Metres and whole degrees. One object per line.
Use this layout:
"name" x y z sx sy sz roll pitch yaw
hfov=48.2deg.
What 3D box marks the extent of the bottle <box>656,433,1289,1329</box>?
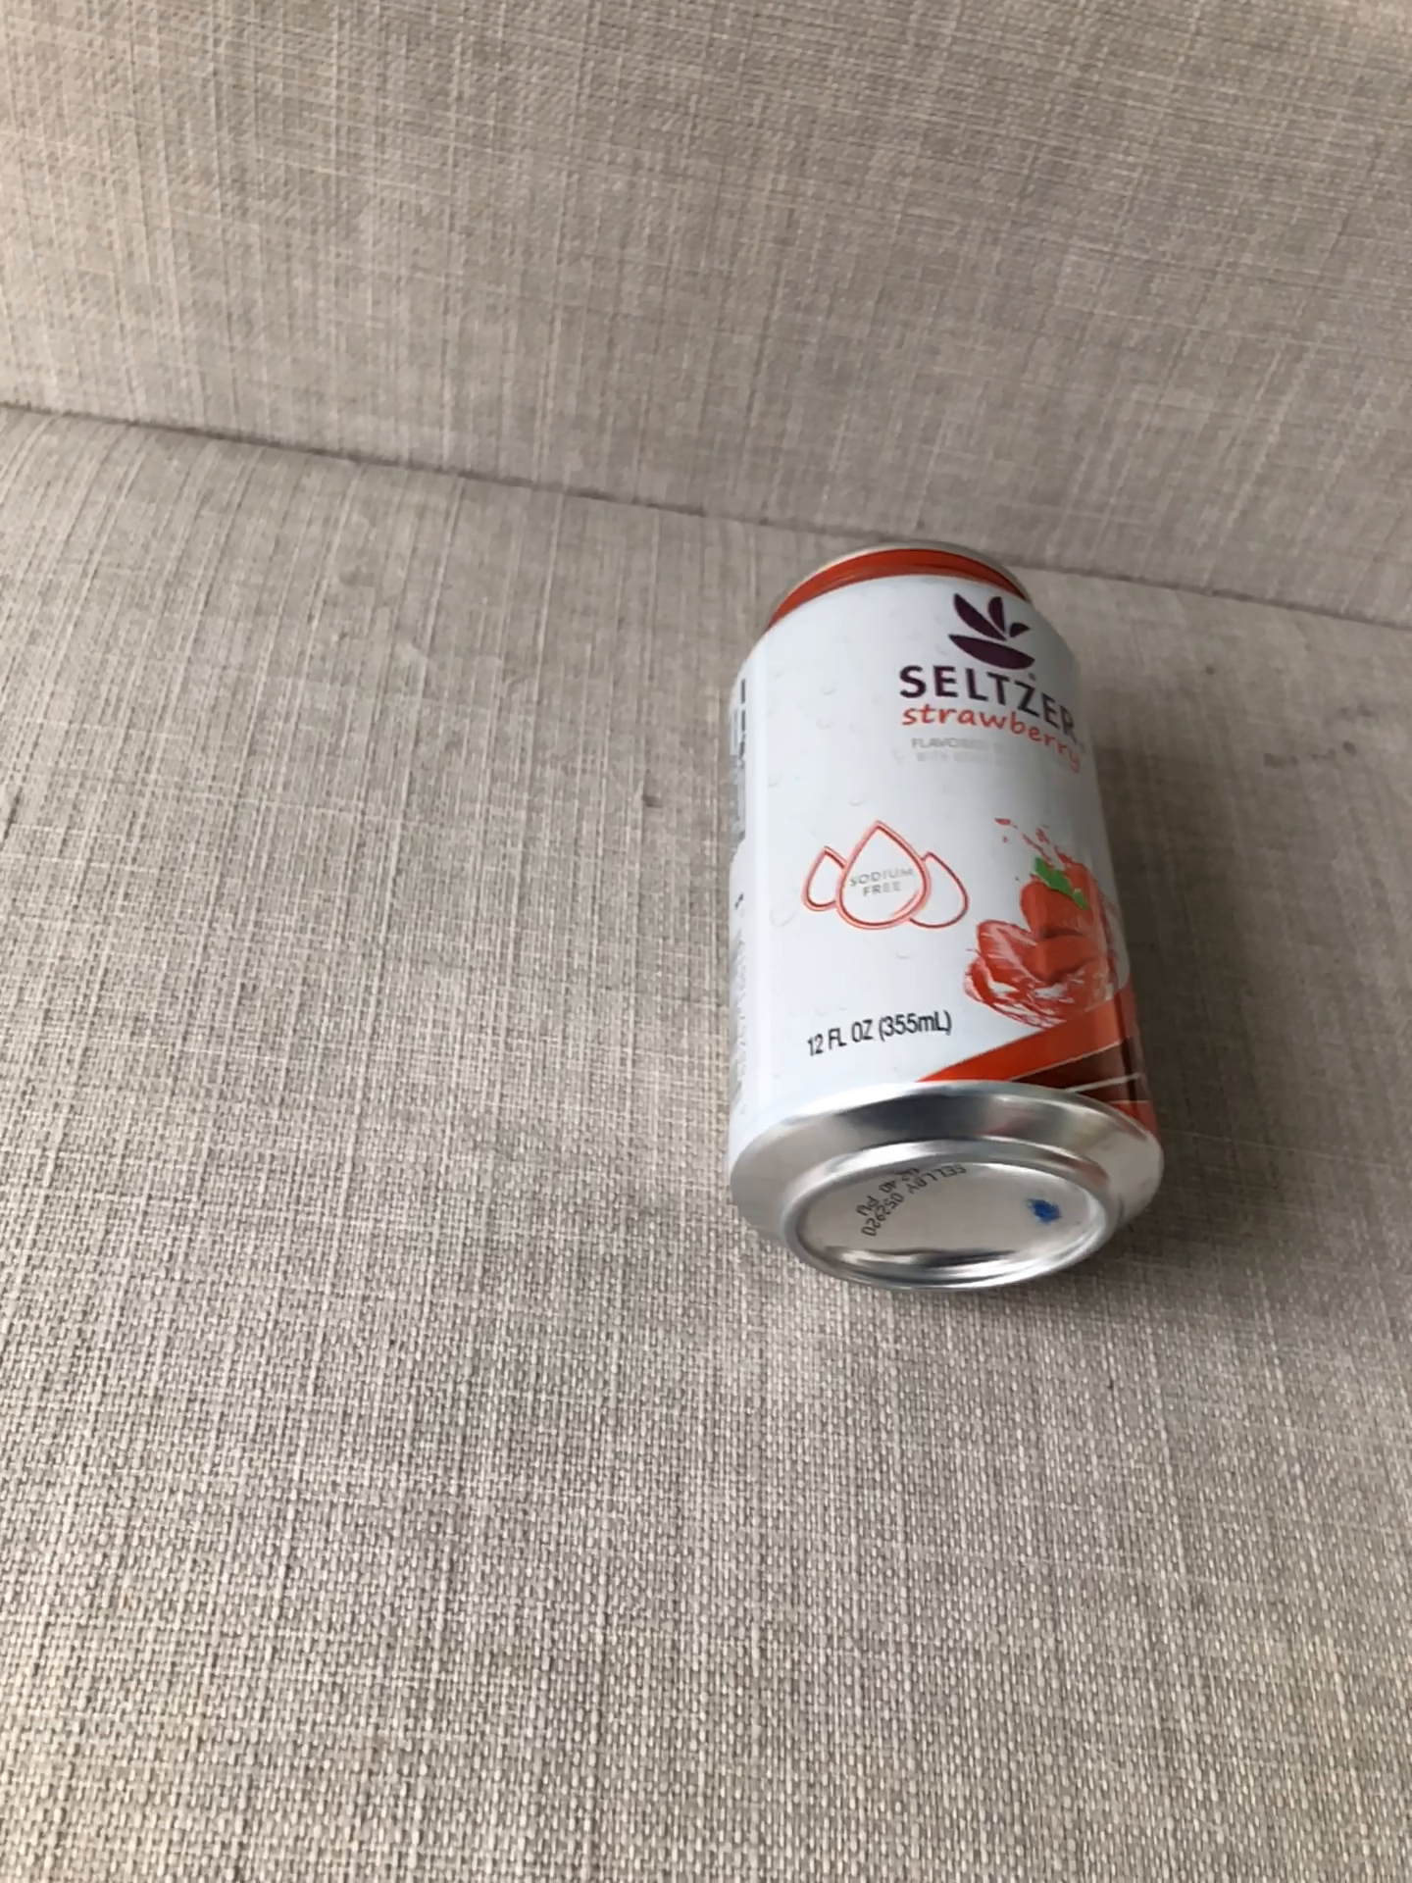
"bottle" 0.034 -0.009 0.258 0.070 0.069 0.121 7 57 -9
